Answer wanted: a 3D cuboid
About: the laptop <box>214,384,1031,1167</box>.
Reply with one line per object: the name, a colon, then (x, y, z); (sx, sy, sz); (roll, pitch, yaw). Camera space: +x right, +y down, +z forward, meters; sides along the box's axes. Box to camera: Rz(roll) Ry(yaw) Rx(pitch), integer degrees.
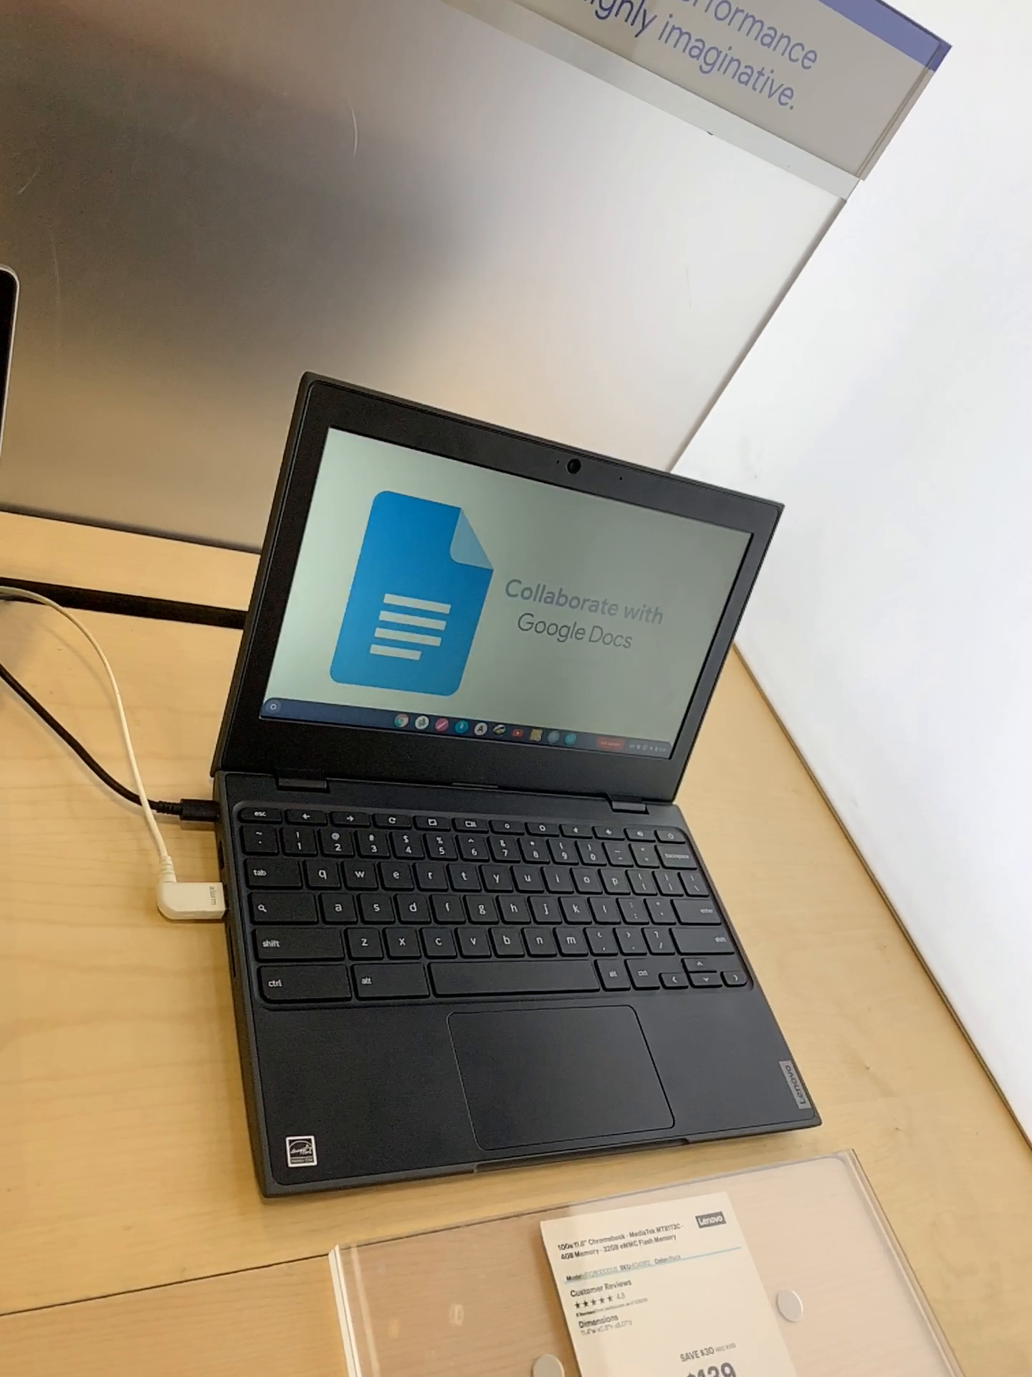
laptop: (0.031, 0.036, 0.492); (0.276, 0.170, 0.266); (8, 43, -29)
